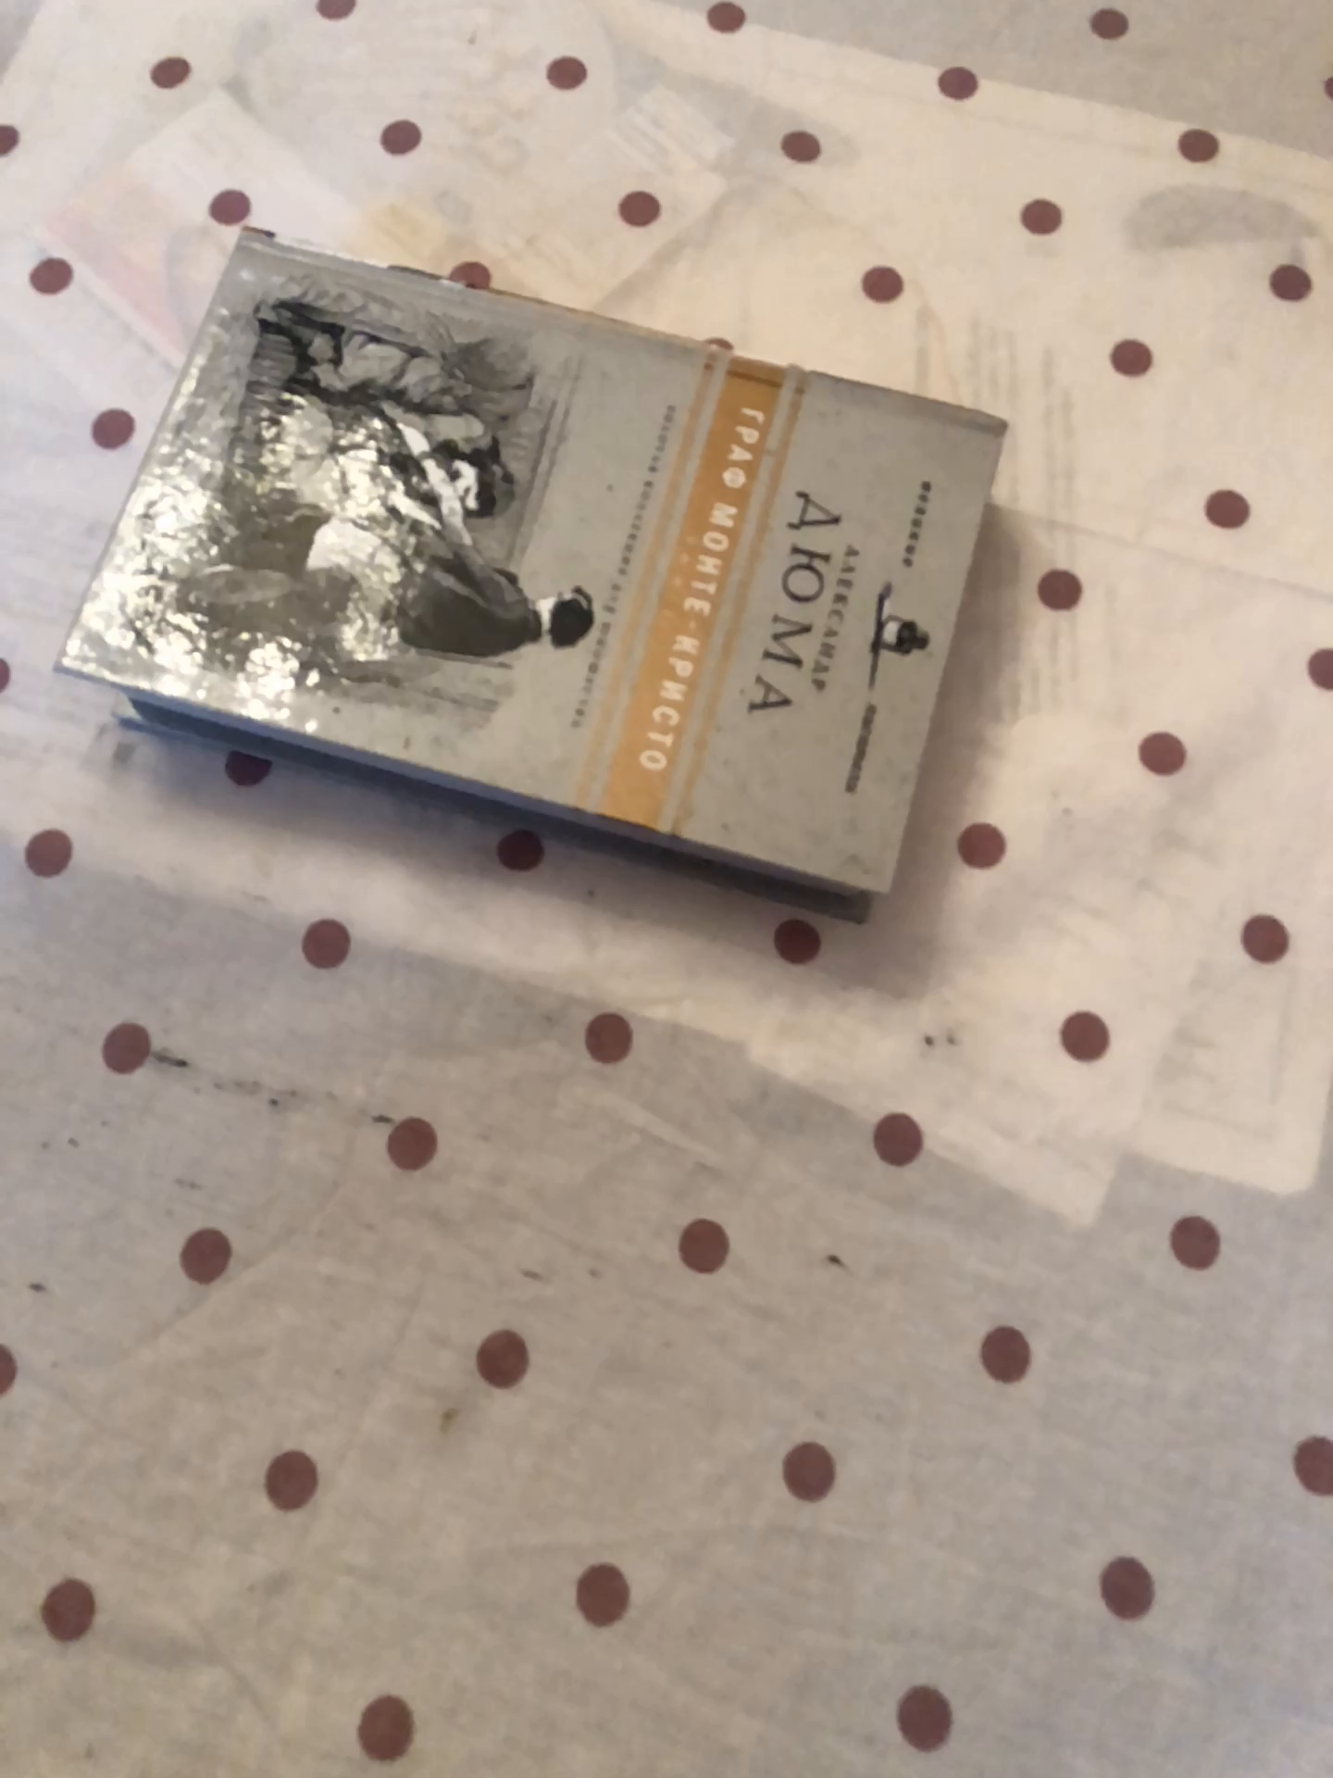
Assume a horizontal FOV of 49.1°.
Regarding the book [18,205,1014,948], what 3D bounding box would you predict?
[{"bbox_3d":[-0.032,-0.080,0.369,0.208,0.040,0.135,15,74,3],"label":"book"}]
